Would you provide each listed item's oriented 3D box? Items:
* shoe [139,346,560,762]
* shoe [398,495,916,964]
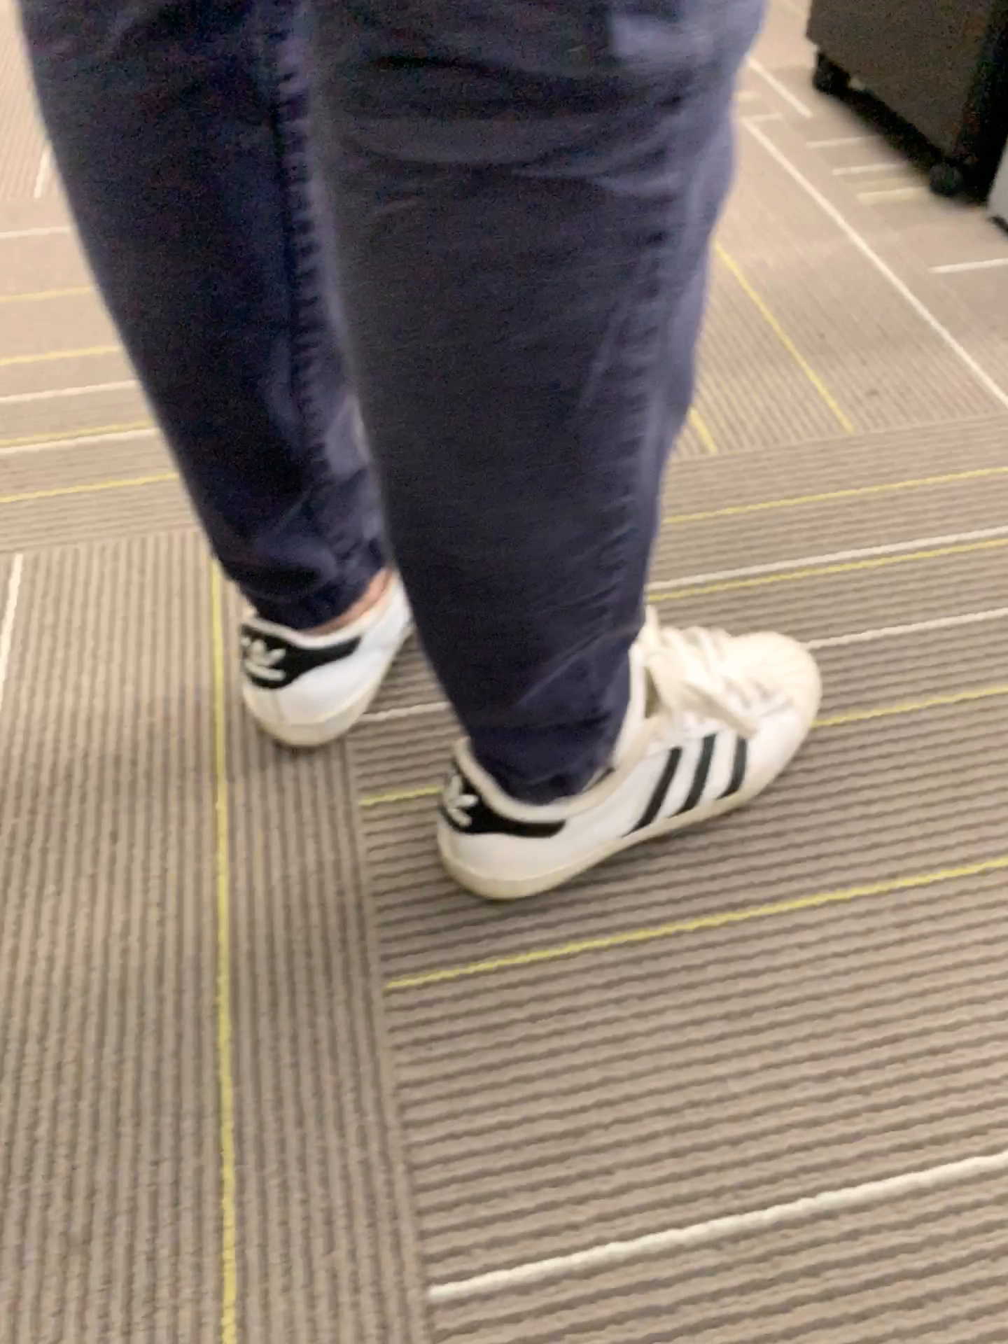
[{"bbox_3d":[-0.081,-0.086,0.664,0.108,0.104,0.263,26,53,23],"label":"shoe"},{"bbox_3d":[0.084,0.022,0.569,0.258,0.104,0.106,-30,53,-23],"label":"shoe"}]
